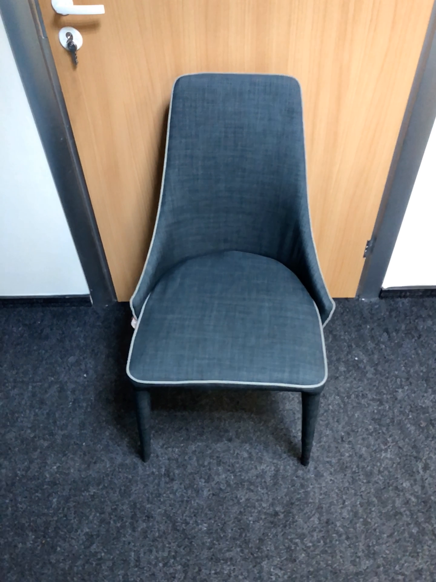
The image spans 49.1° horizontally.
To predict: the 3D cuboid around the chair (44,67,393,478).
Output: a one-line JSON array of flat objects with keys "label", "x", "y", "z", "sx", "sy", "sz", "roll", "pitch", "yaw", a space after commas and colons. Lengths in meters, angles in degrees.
[{"label": "chair", "x": 0.019, "y": -0.013, "z": 1.238, "sx": 0.520, "sy": 0.845, "sz": 0.644, "roll": 0, "pitch": 46, "yaw": 2}]
